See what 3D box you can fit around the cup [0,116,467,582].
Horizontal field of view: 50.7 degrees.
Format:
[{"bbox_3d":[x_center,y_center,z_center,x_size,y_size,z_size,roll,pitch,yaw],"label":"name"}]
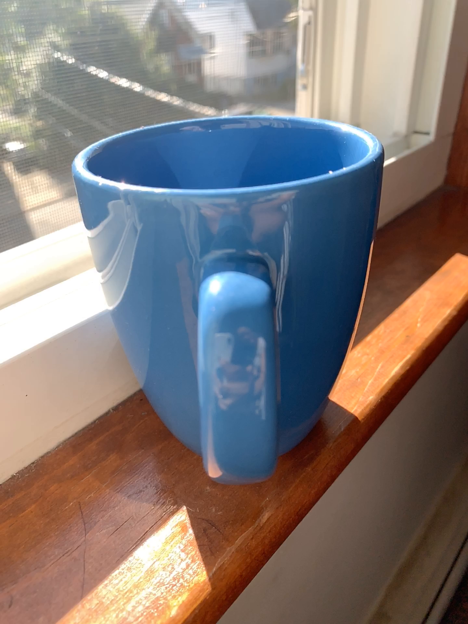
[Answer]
[{"bbox_3d":[-0.001,0.000,0.154,0.081,0.095,0.114,0,31,2],"label":"cup"}]
